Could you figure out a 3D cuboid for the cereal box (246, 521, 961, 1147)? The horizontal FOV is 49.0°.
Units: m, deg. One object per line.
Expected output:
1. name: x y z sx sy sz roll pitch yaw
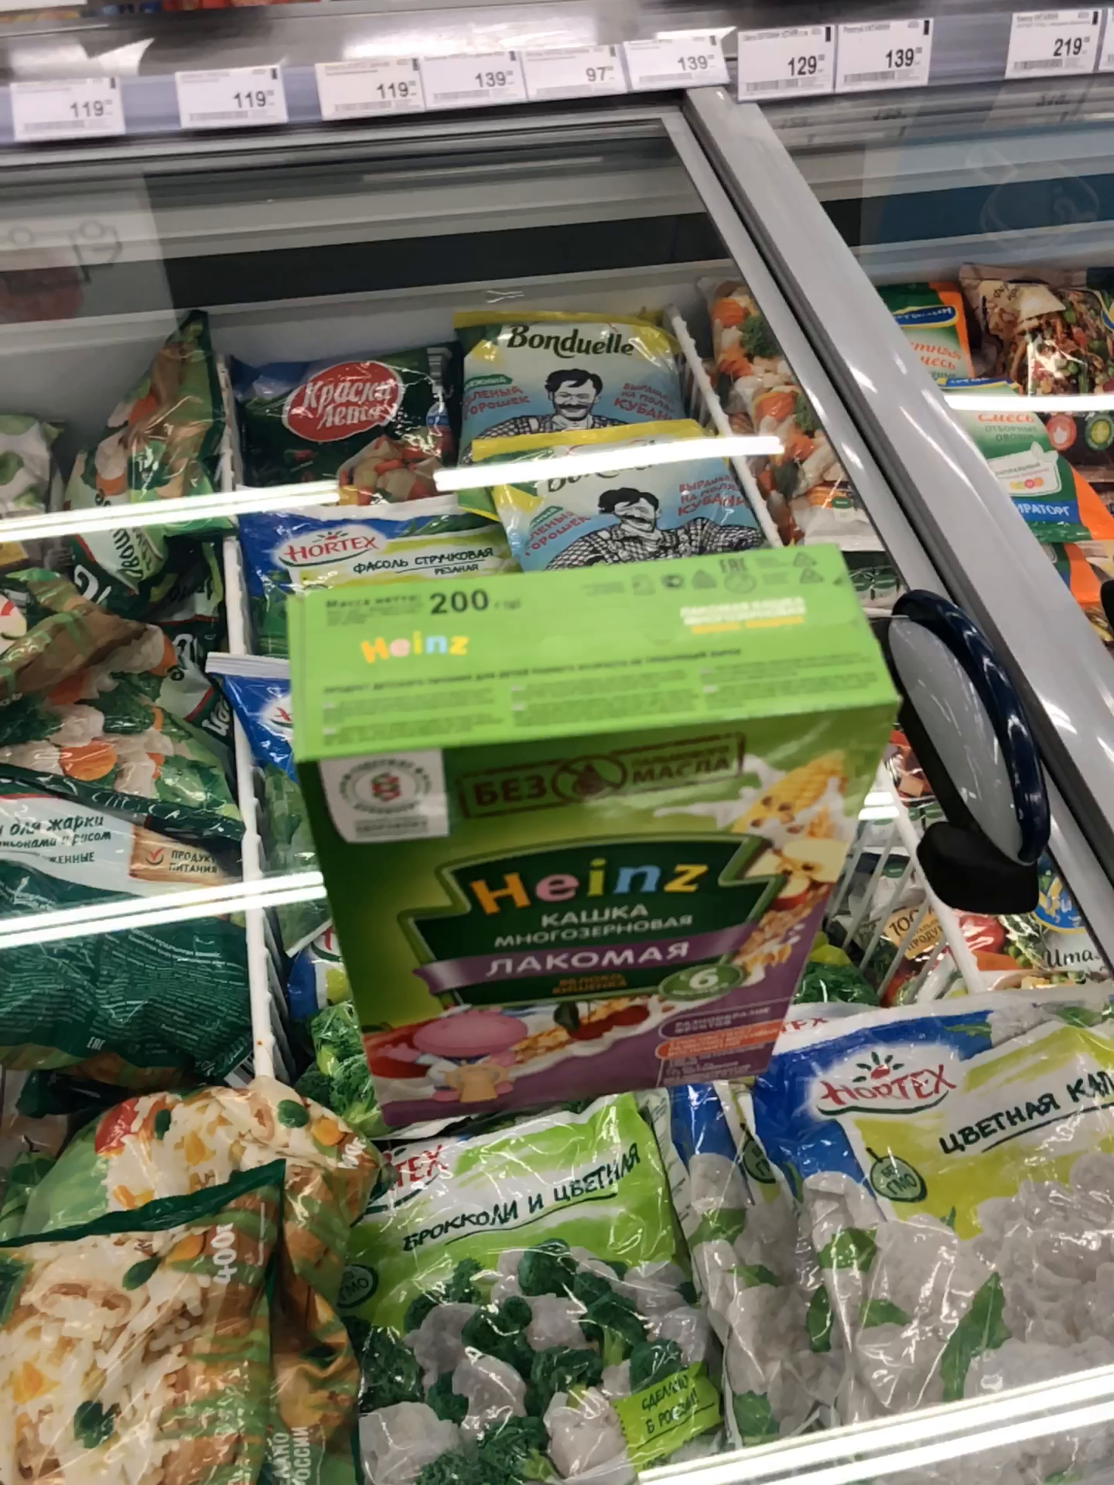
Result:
1. cereal box: 0.006 0.039 0.329 0.140 0.199 0.050 -6 52 -6
